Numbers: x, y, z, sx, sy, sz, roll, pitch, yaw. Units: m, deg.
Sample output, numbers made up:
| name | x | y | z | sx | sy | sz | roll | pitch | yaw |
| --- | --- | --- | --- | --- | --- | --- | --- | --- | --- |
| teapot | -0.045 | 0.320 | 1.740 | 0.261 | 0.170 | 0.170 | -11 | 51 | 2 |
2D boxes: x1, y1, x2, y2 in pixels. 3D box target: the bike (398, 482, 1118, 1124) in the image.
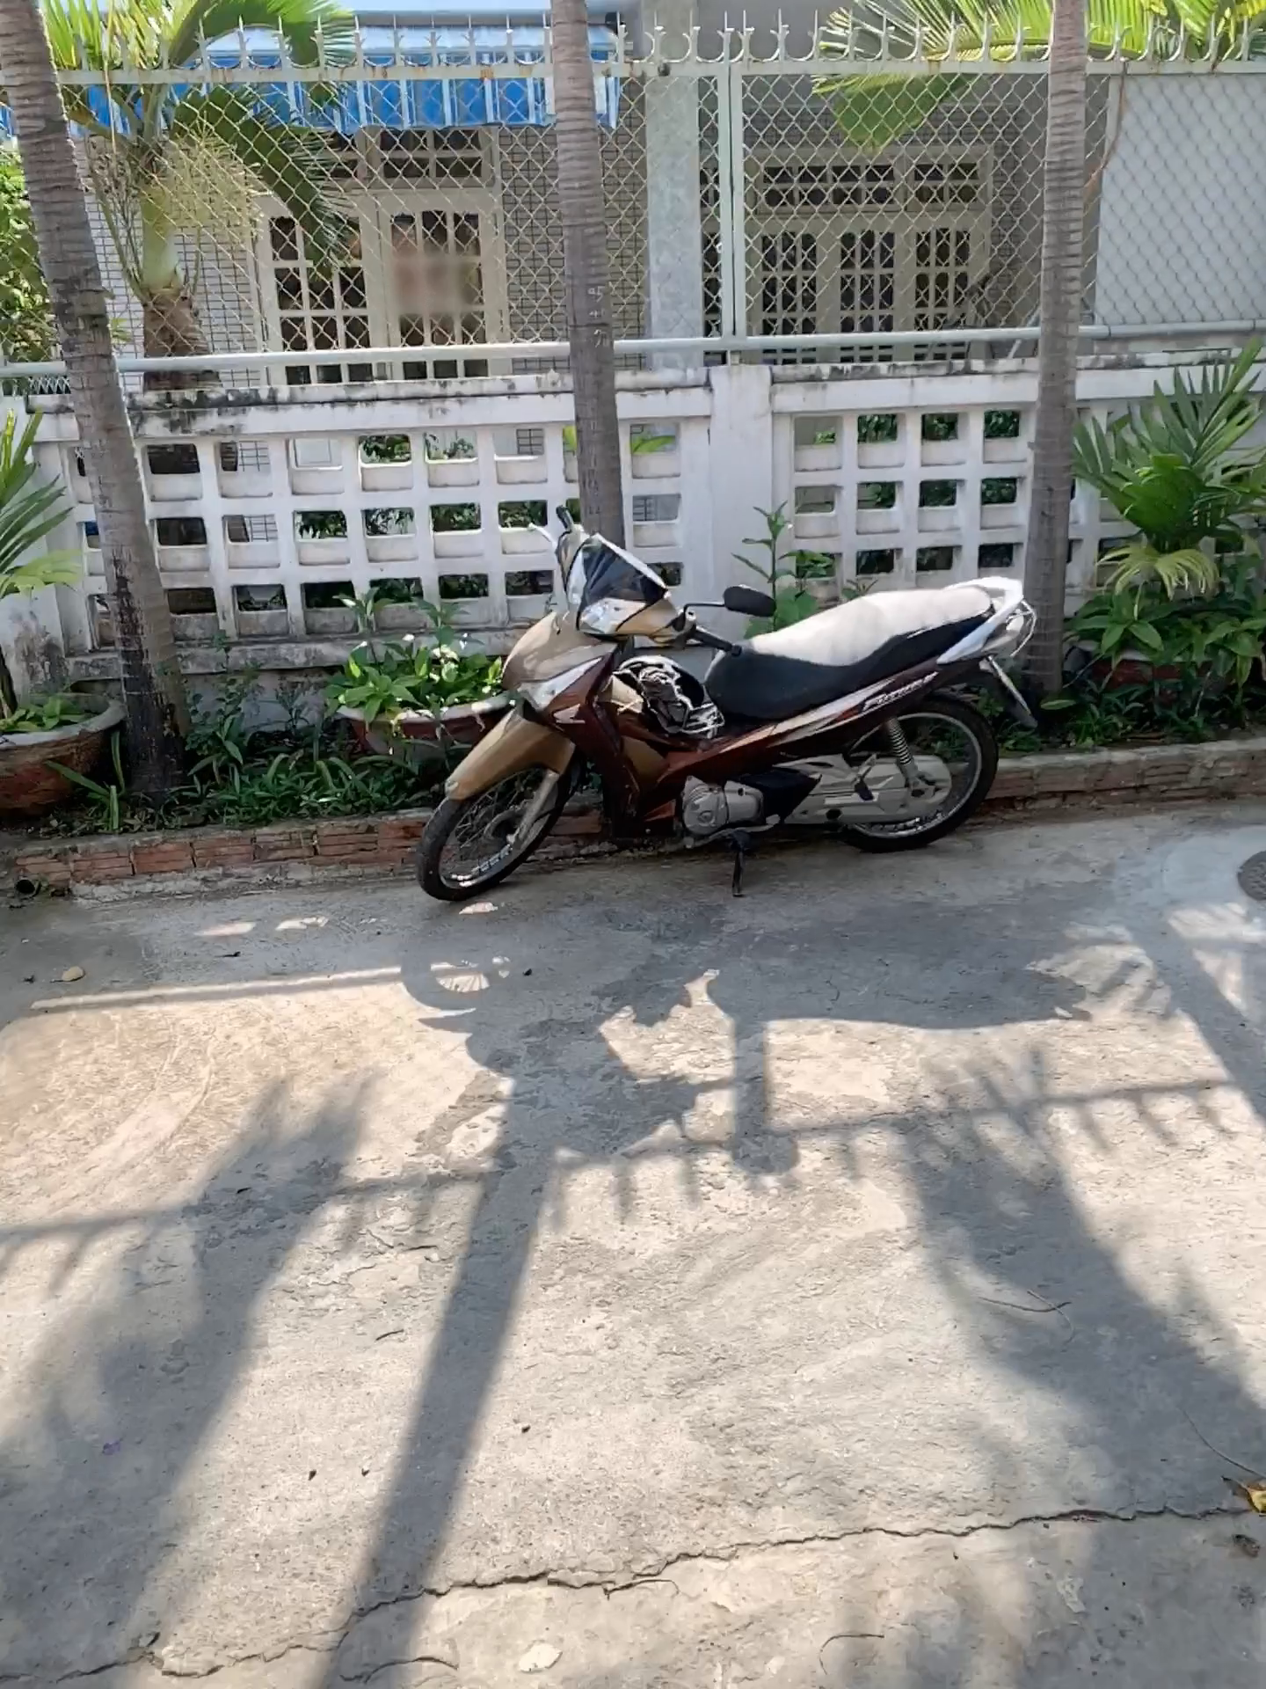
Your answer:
| name | x | y | z | sx | sy | sz | roll | pitch | yaw |
| --- | --- | --- | --- | --- | --- | --- | --- | --- | --- |
| bike | 0.380 | -0.221 | 3.738 | 1.975 | 1.442 | 0.614 | -9 | 19 | -19 |
